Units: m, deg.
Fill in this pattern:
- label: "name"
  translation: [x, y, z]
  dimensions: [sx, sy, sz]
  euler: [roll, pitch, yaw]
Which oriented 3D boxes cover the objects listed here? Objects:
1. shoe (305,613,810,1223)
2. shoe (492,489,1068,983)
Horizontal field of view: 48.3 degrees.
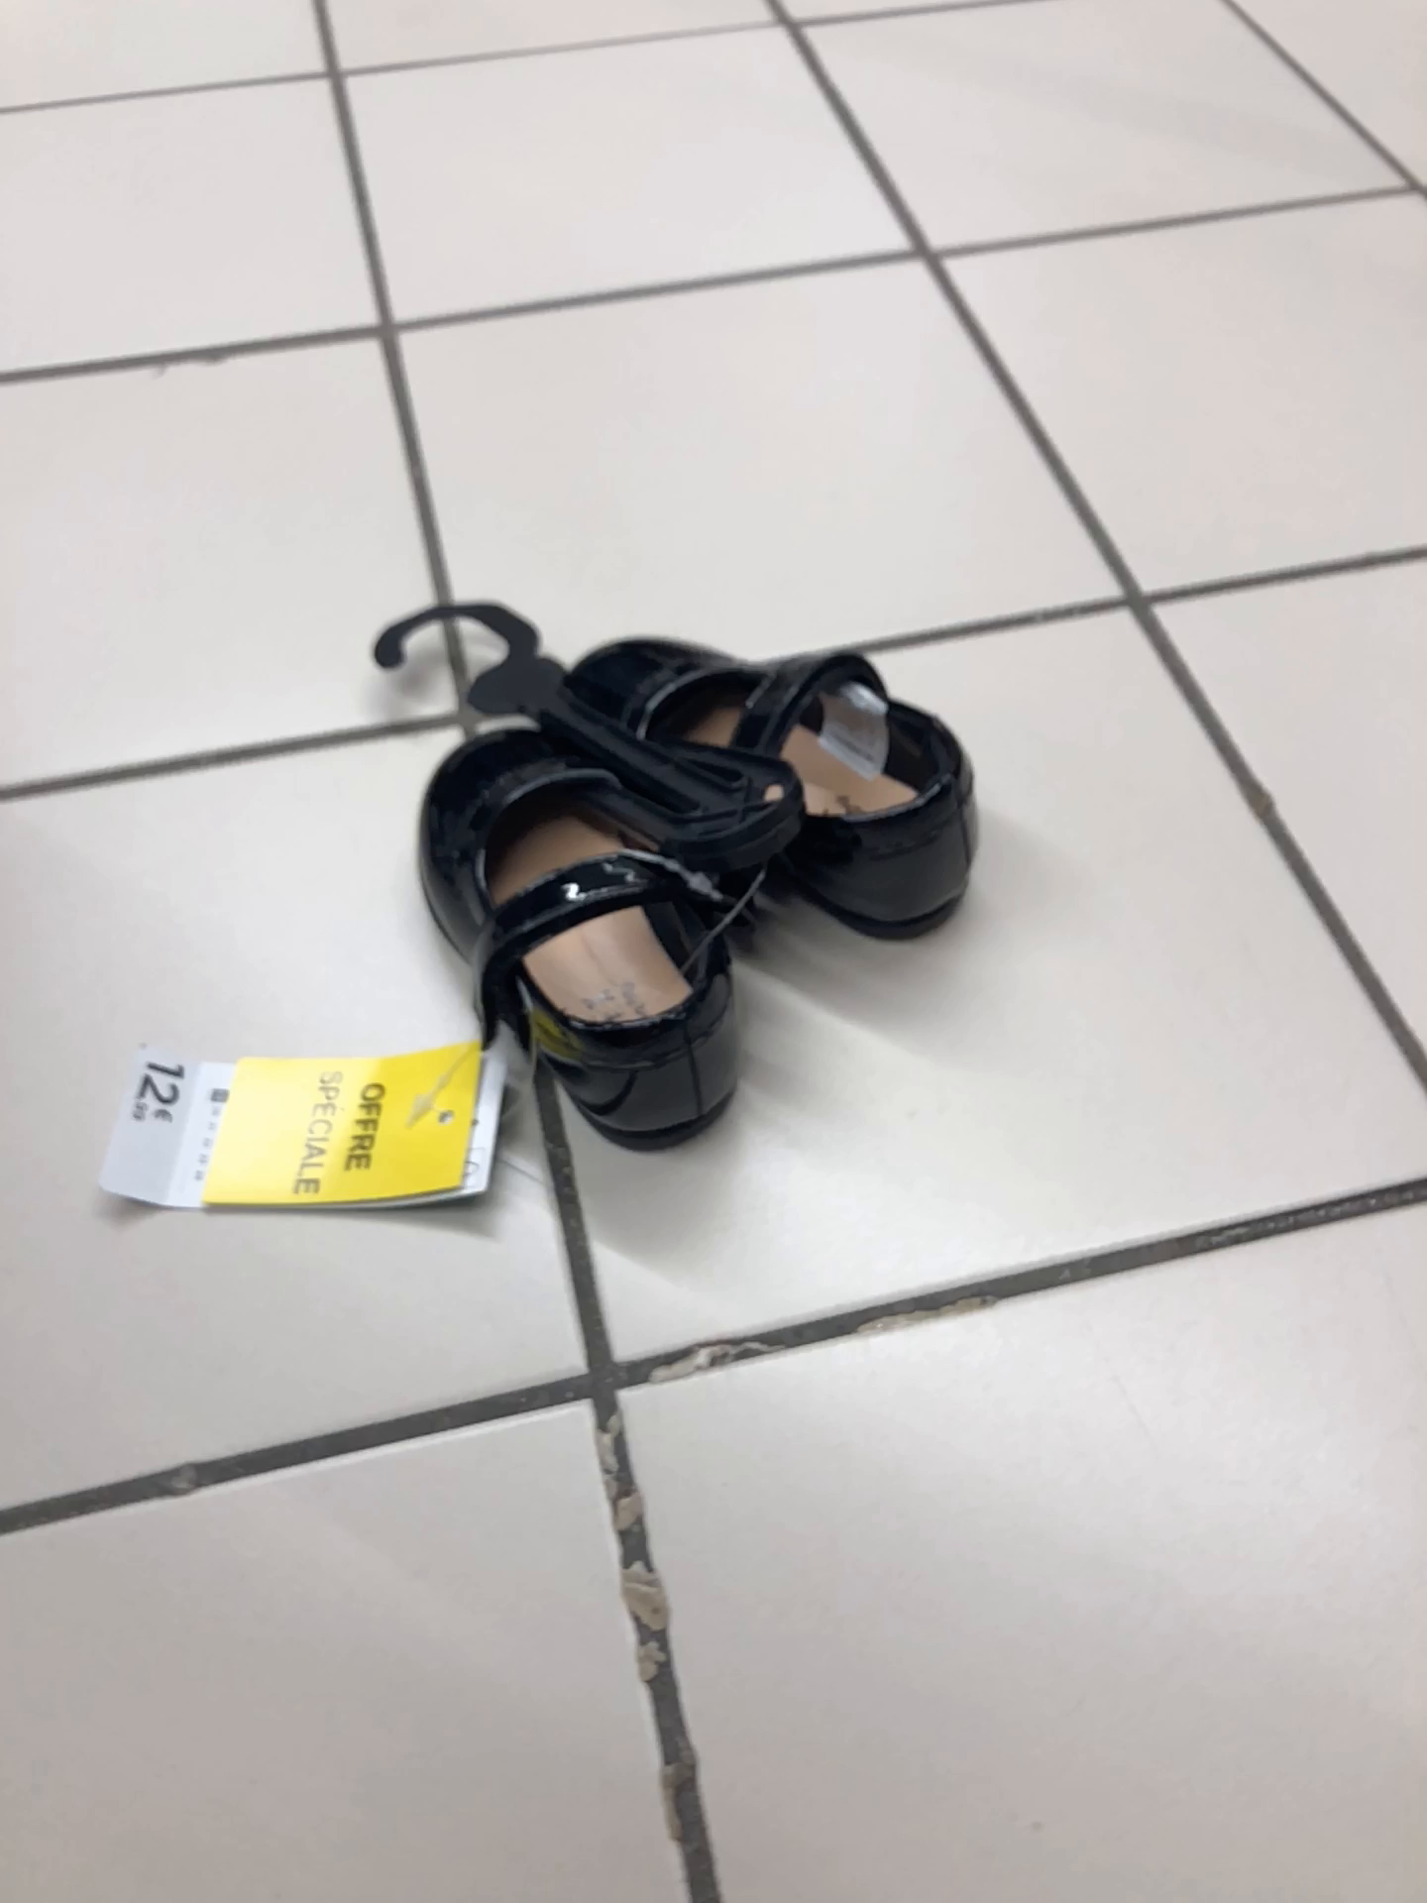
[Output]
- label: "shoe"
  translation: [-0.038, -0.012, 0.367]
  dimensions: [0.060, 0.048, 0.130]
  euler: [-24, 56, -17]
- label: "shoe"
  translation: [0.014, -0.057, 0.396]
  dimensions: [0.127, 0.048, 0.060]
  euler: [32, 59, 23]
